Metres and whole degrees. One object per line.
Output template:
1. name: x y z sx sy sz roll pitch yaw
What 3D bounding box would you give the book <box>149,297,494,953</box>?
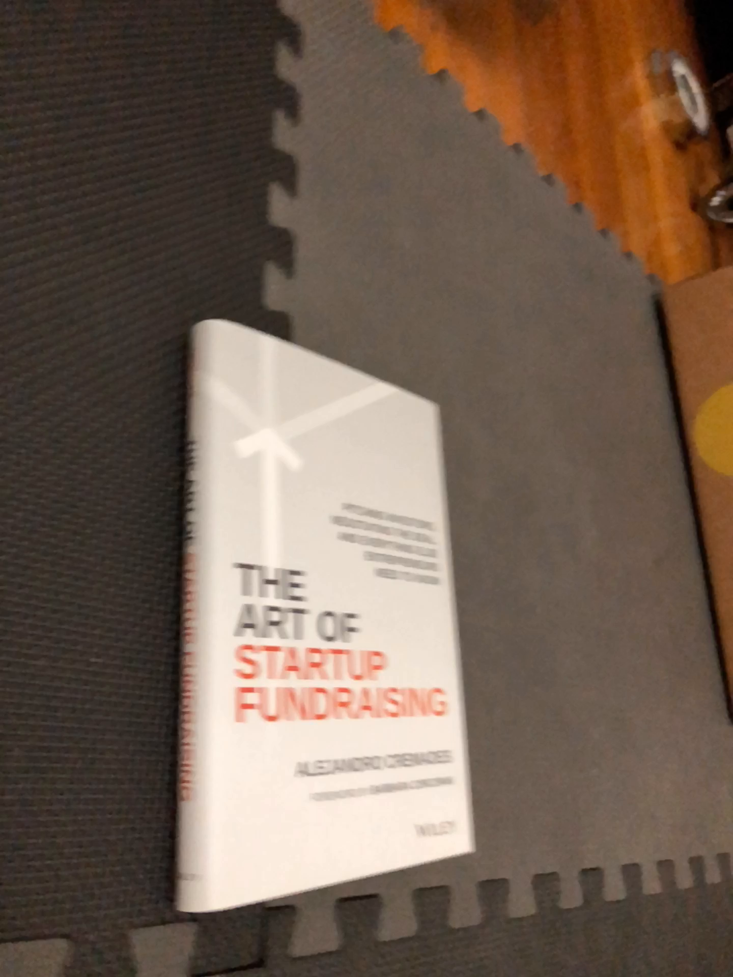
1. book: -0.014 0.057 0.381 0.171 0.030 0.250 17 63 -45
